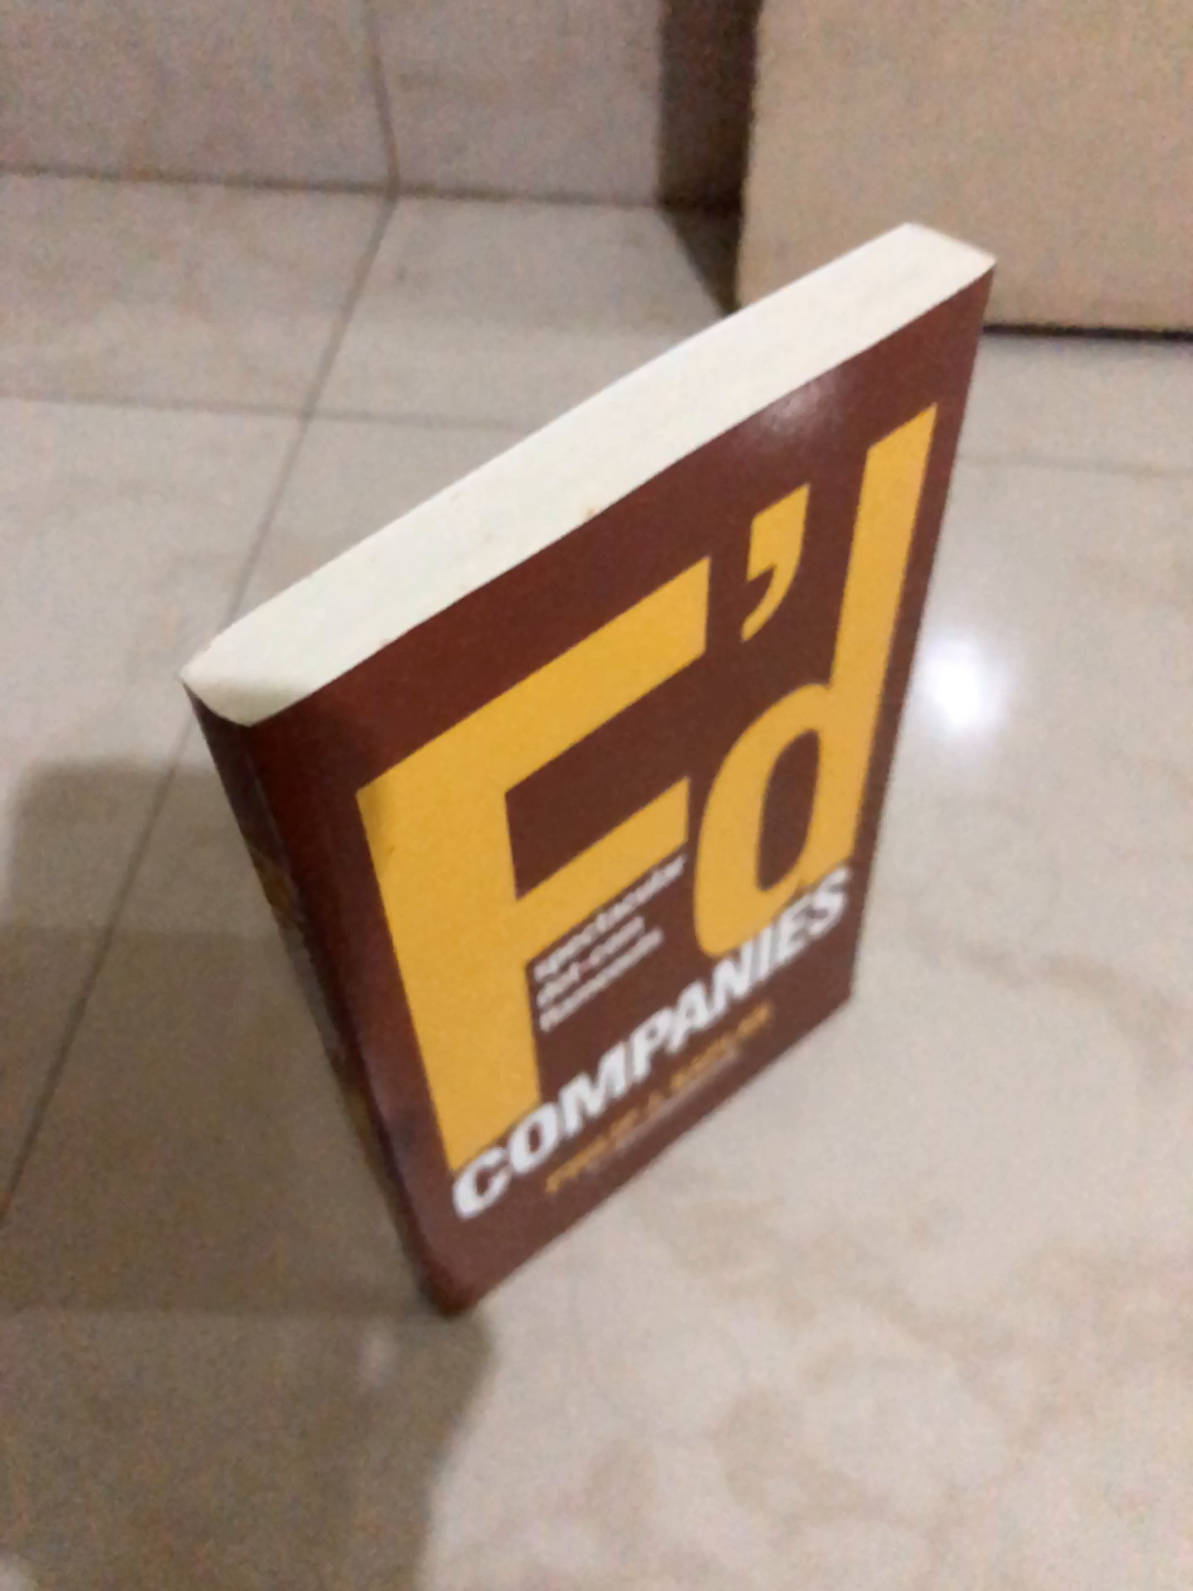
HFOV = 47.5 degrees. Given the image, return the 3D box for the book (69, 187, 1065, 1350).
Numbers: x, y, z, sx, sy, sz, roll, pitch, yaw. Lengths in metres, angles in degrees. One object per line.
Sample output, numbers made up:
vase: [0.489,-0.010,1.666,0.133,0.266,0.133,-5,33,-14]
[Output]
book: [0.004,0.016,0.243,0.130,0.199,0.030,-34,59,-22]
